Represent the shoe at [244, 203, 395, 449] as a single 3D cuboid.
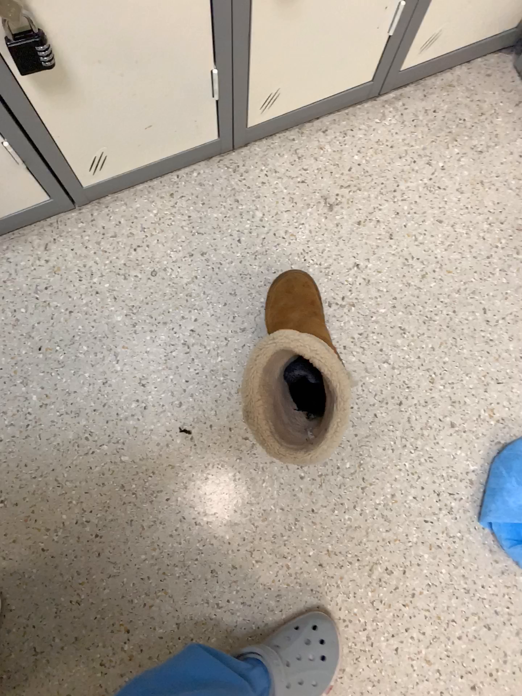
[{"bbox_3d":[0.067,-0.015,0.790,0.158,0.245,0.306,-4,81,-3],"label":"shoe"}]
